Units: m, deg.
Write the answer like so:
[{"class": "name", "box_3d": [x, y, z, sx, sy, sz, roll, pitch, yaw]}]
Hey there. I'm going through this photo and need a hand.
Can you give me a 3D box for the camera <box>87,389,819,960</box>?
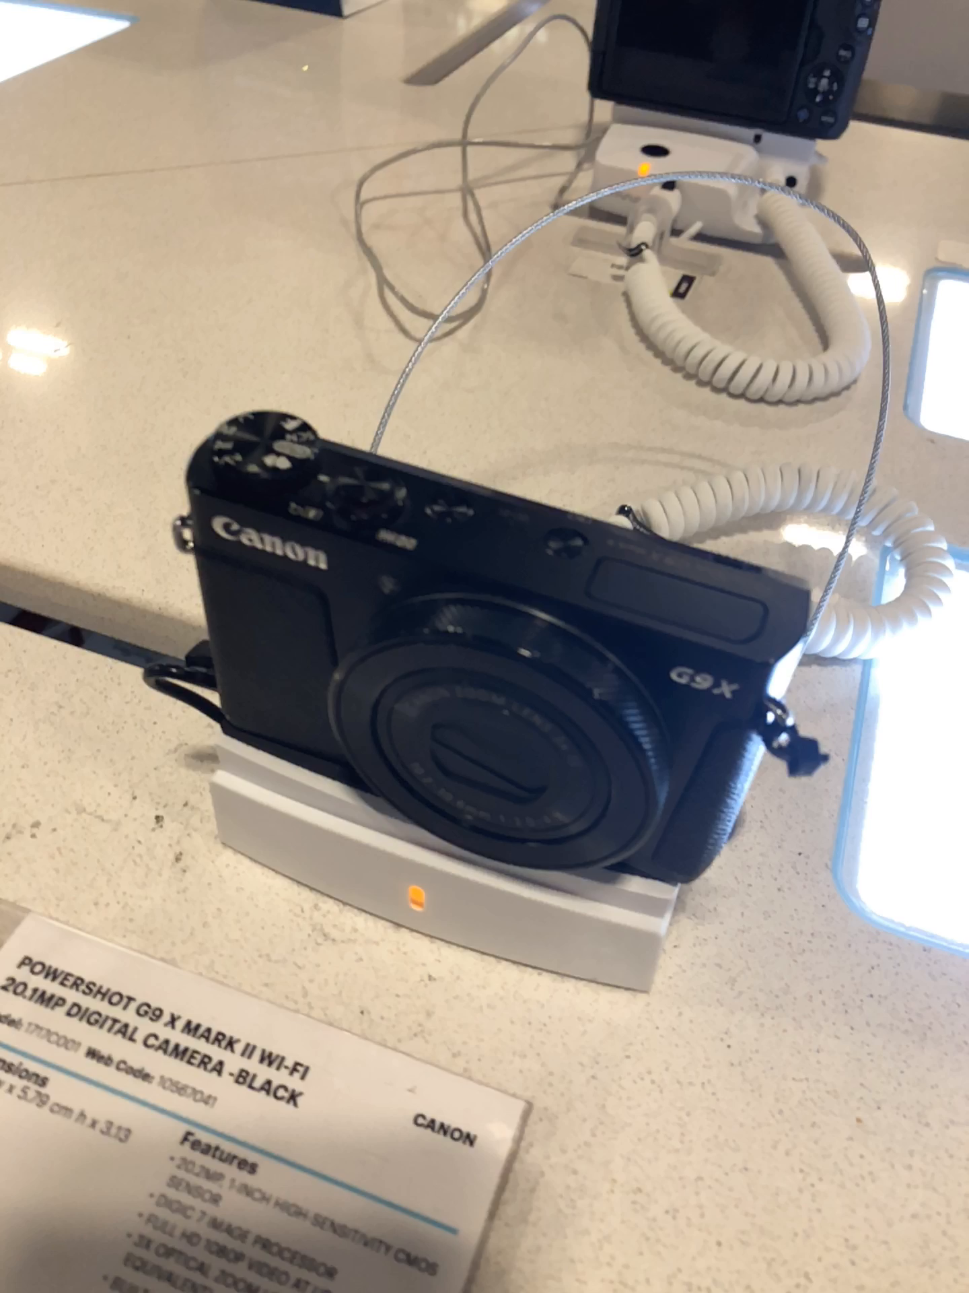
[{"class": "camera", "box_3d": [-0.007, 0.004, 0.172, 0.100, 0.060, 0.030, 18, 45, 13]}]
